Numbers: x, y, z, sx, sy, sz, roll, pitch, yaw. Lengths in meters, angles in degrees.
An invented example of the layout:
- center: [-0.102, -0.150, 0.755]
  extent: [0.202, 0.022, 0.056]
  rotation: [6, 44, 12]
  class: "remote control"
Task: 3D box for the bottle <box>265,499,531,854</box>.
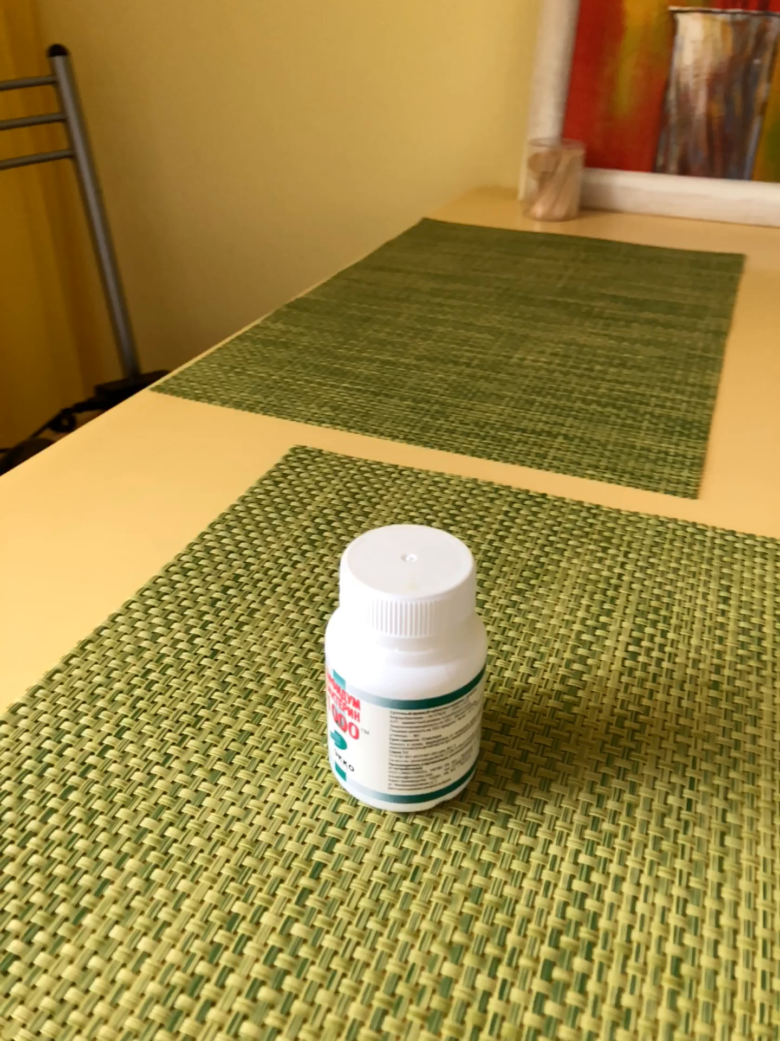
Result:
- center: [0.000, 0.042, 0.244]
  extent: [0.050, 0.070, 0.050]
  rotation: [1, 32, -1]
  class: "bottle"
